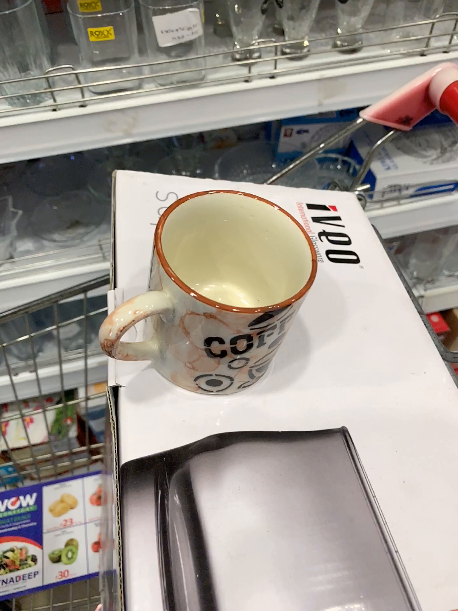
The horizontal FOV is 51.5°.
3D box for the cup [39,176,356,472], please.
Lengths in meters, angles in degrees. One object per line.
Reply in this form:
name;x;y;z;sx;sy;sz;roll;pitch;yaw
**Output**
cup;-0.015;0.002;0.206;0.100;0.070;0.070;-23;53;-31
